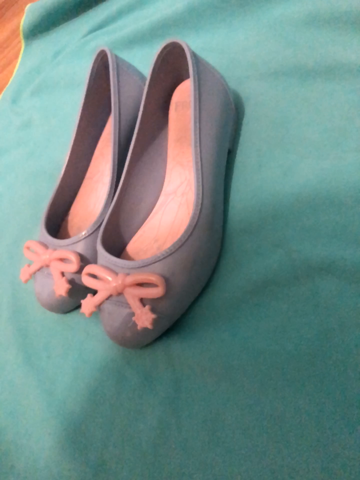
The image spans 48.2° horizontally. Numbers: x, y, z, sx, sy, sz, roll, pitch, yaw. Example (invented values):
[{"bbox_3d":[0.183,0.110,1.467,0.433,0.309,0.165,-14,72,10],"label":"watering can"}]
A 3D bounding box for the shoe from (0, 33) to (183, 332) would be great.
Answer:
[{"bbox_3d":[-0.070,-0.042,0.287,0.080,0.060,0.190,3,68,34],"label":"shoe"}]

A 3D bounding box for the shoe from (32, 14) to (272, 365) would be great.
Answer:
[{"bbox_3d":[-0.008,-0.033,0.248,0.080,0.060,0.190,3,68,34],"label":"shoe"}]
